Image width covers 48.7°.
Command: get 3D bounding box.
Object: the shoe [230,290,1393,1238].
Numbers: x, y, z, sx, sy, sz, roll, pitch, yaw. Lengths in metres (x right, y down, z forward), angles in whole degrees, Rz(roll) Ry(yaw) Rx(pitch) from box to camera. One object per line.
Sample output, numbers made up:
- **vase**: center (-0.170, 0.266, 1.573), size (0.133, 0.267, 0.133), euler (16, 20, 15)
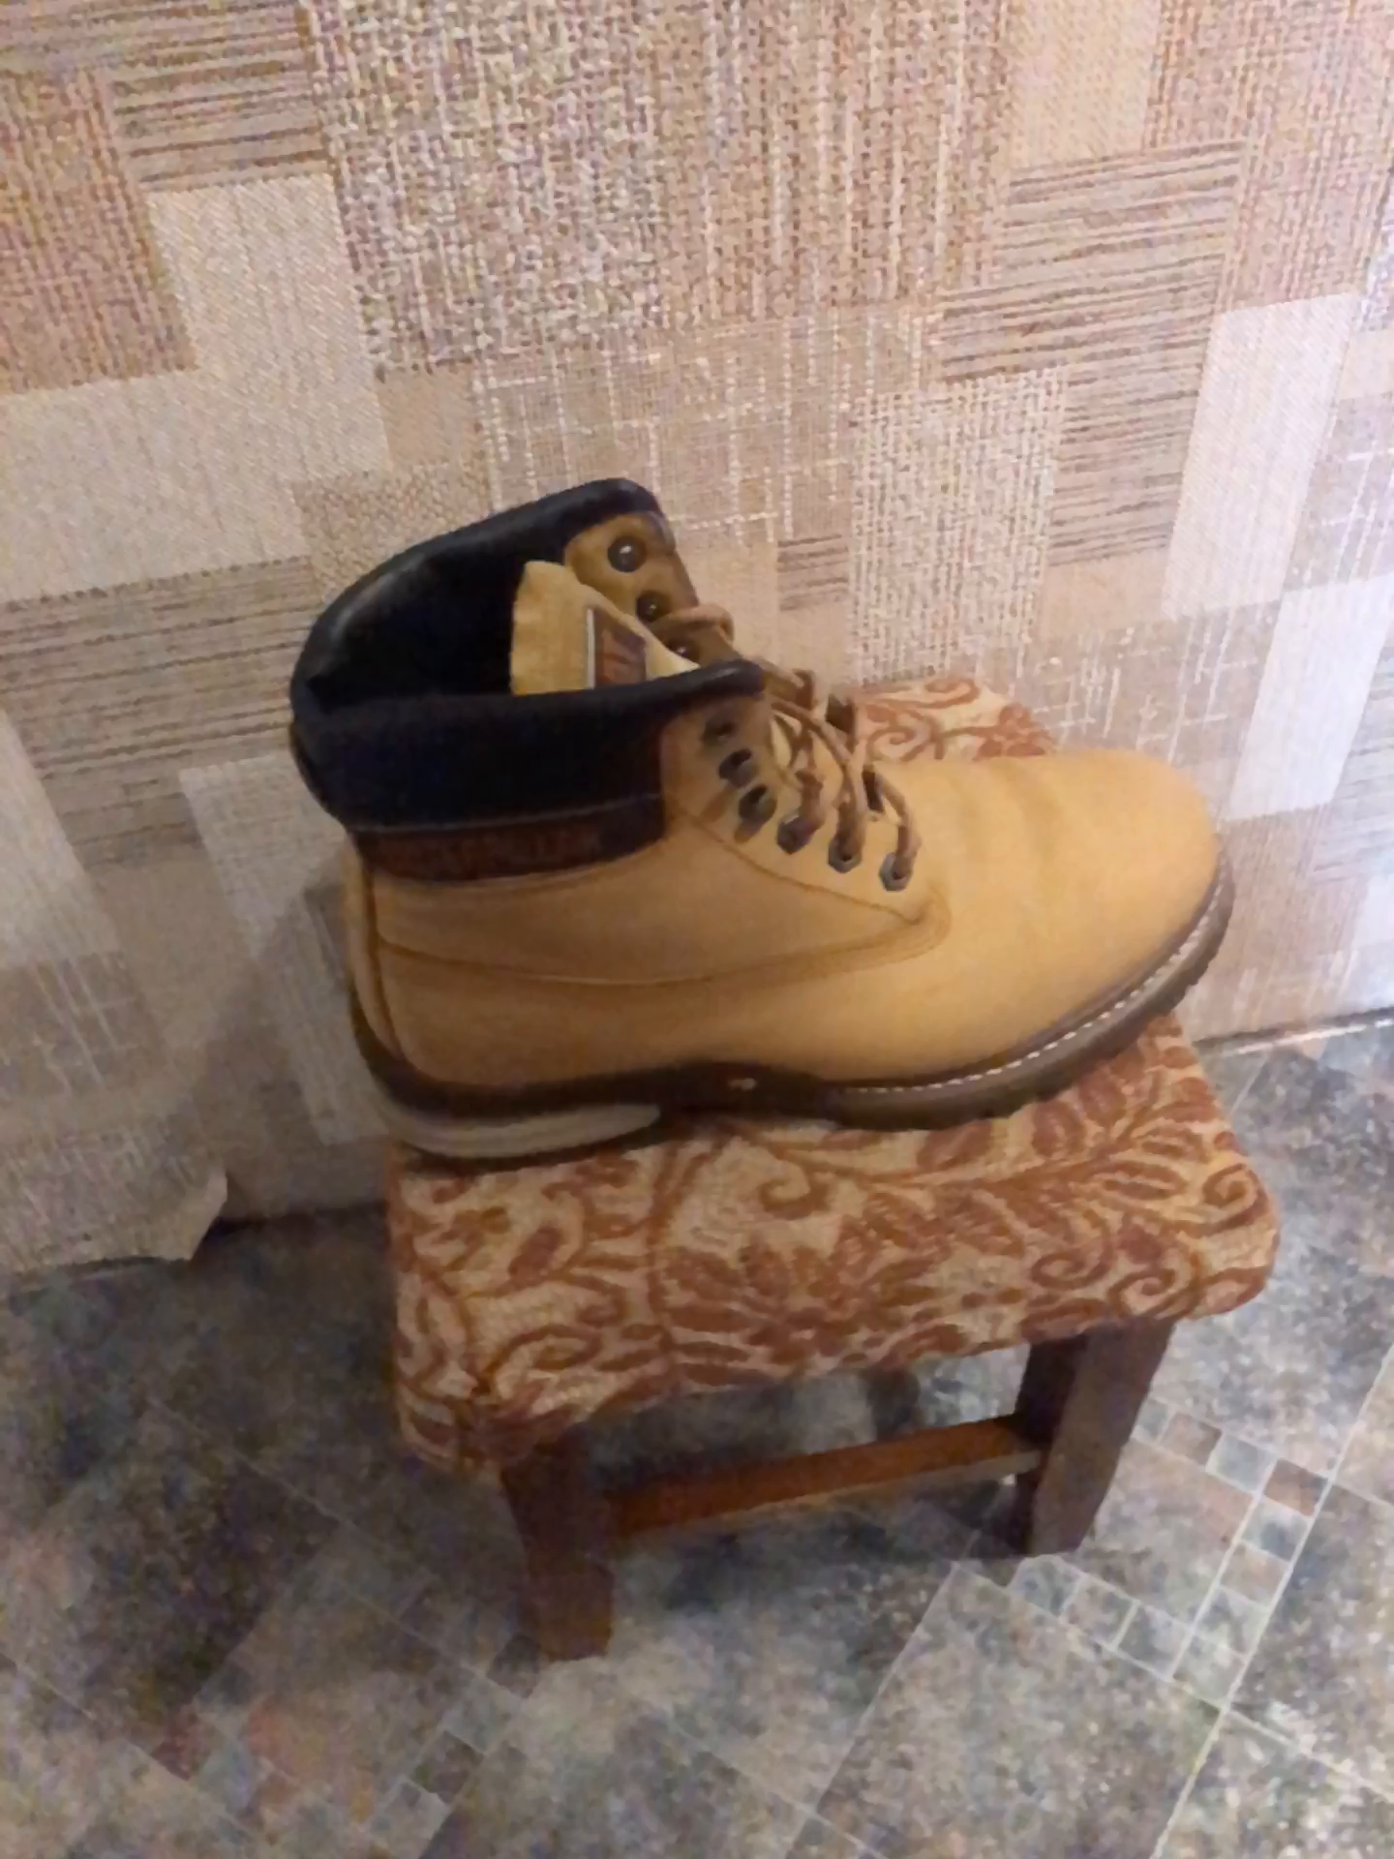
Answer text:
- **shoe**: center (0.041, -0.049, 0.464), size (0.310, 0.189, 0.141), euler (-11, 47, -7)
